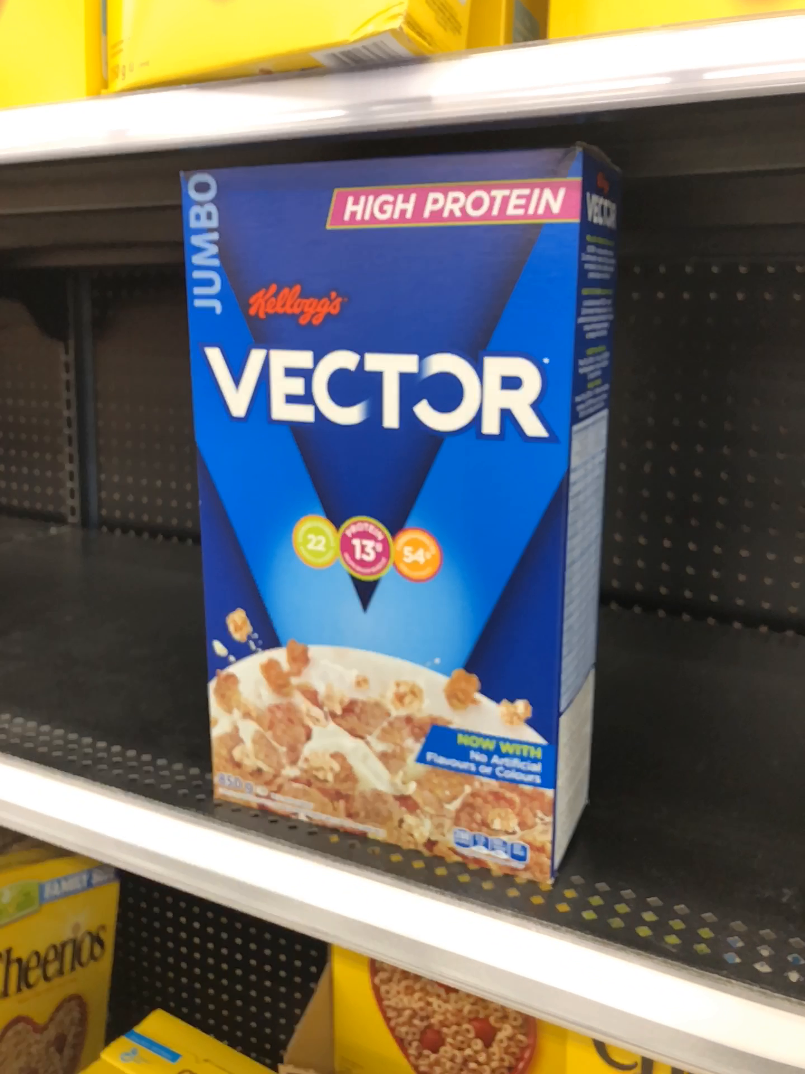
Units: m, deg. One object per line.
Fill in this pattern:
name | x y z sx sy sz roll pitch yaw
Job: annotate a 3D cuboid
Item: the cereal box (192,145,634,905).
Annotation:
cereal box | 0.003 -0.008 0.478 0.200 0.348 0.080 6 15 23
